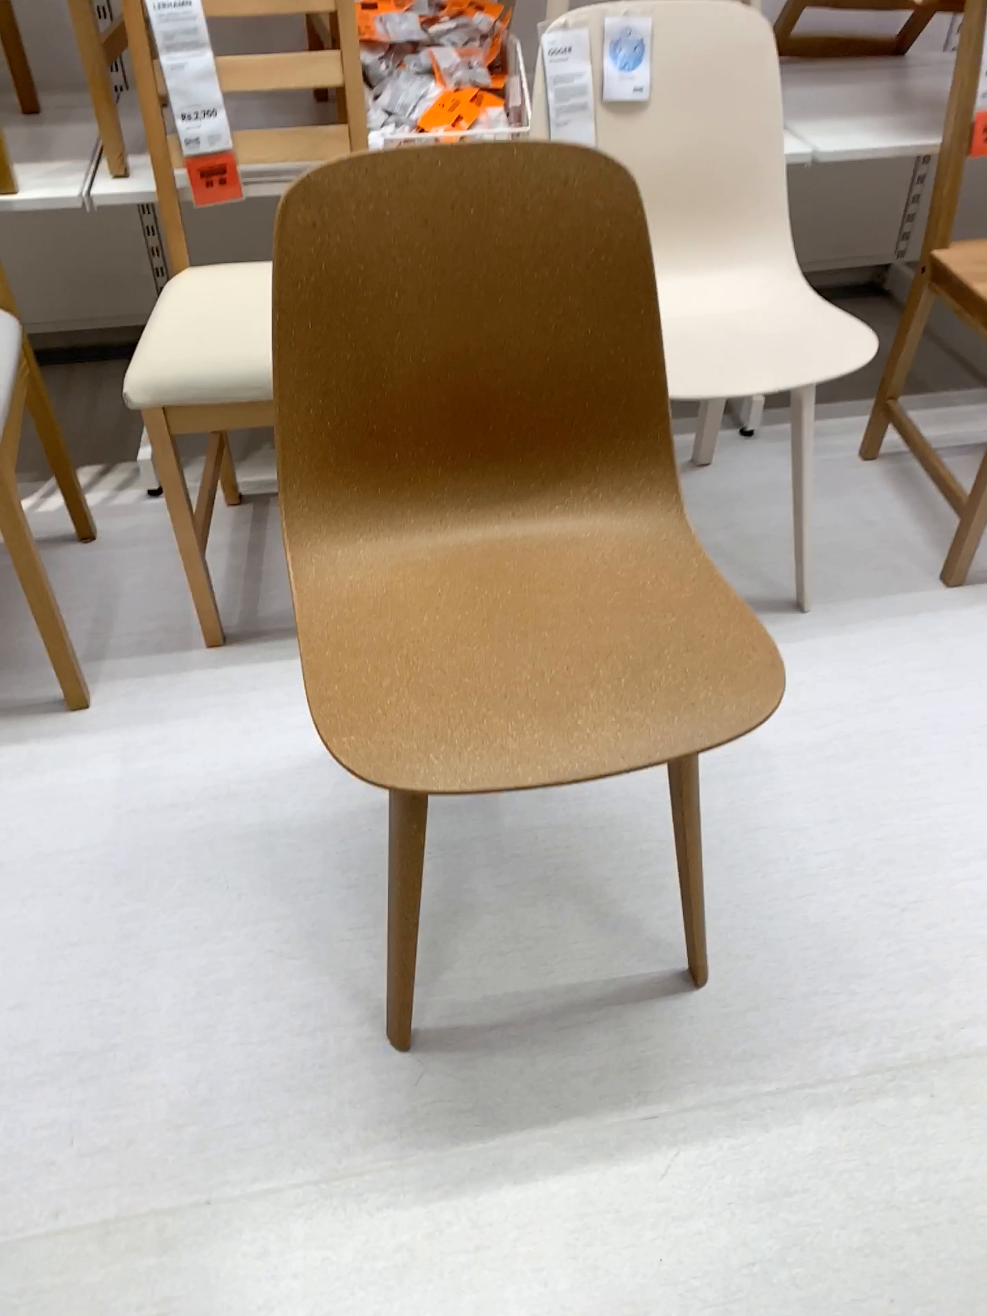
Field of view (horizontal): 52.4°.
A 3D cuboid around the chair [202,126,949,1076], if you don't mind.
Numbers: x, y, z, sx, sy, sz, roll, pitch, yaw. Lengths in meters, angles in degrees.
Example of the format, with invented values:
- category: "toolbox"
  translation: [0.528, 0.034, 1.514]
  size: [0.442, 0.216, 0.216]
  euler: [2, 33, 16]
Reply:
- category: "chair"
  translation: [0.003, -0.055, 1.052]
  size: [0.460, 0.757, 0.562]
  euler: [-8, 42, -9]
